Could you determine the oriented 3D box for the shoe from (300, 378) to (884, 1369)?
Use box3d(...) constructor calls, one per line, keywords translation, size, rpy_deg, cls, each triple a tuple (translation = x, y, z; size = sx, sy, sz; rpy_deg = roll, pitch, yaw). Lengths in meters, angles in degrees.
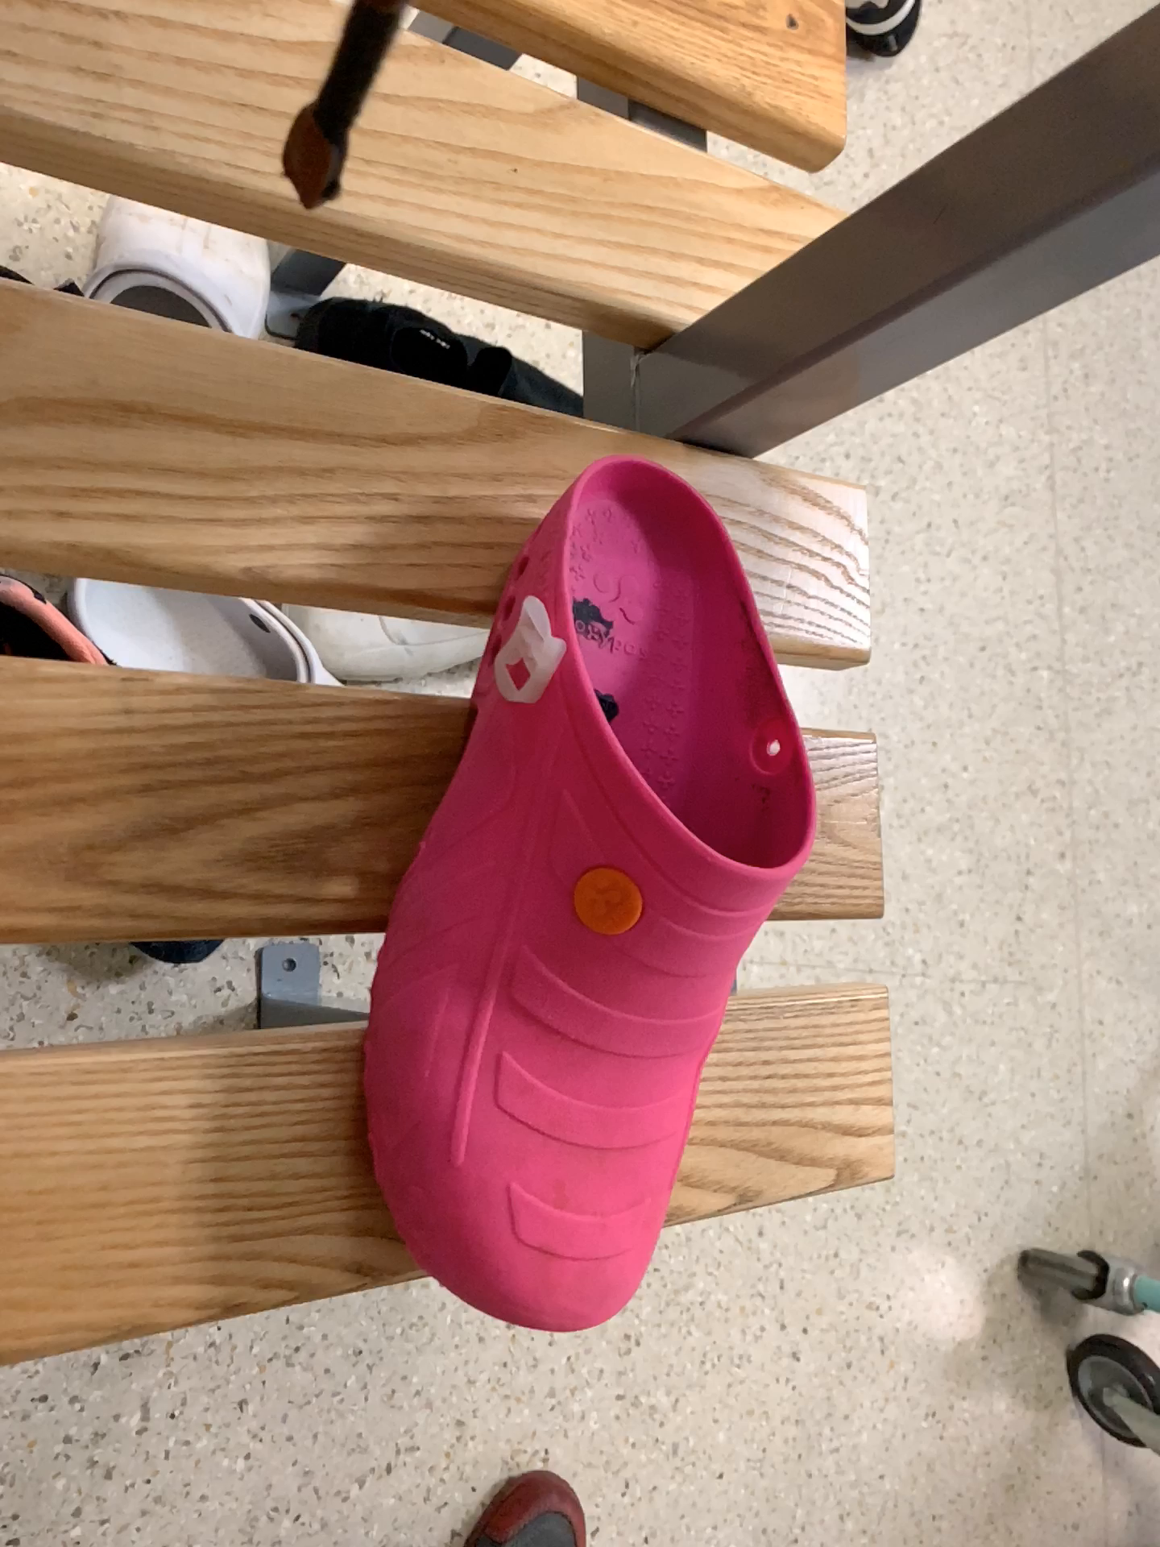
box3d(translation=(0.008, 0.027, 0.313), size=(0.097, 0.068, 0.221), rpy_deg=(18, 75, -29), cls="shoe")
